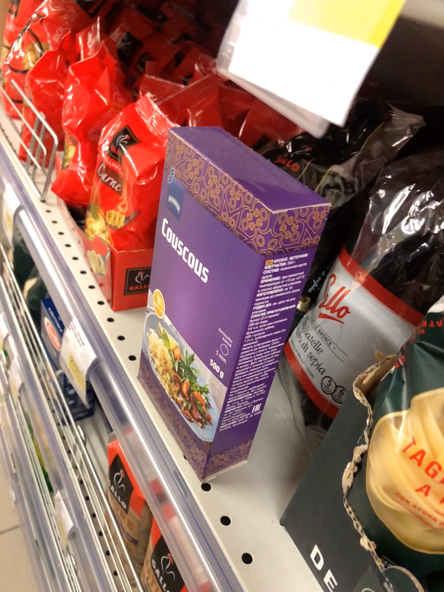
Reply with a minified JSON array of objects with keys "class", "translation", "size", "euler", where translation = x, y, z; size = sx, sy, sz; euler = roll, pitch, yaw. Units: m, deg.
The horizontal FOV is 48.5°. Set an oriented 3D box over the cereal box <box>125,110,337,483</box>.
[{"class":"cereal box","translation":[-0.012,0.005,0.305],"size":[0.040,0.199,0.110],"euler":[-12,42,-32]}]
